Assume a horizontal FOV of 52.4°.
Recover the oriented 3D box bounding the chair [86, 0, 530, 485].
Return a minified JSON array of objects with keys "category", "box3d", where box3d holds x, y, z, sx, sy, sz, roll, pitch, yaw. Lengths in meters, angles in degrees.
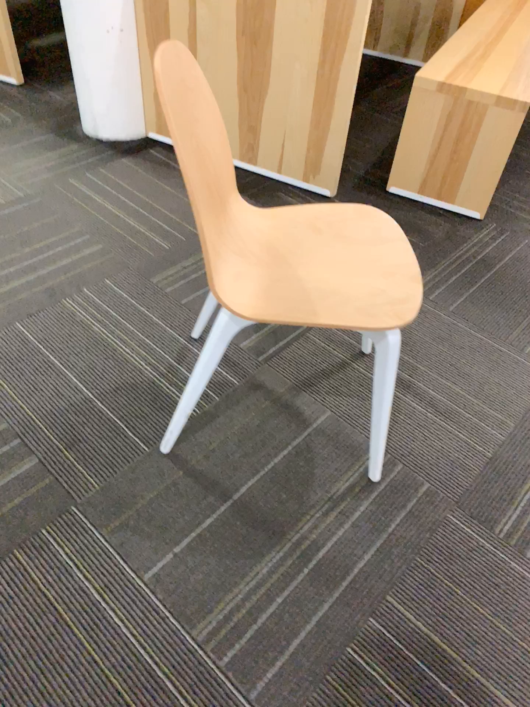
[{"category":"chair","box3d":[0.054,-0.180,1.122,0.570,0.826,0.462,7,46,1]}]
